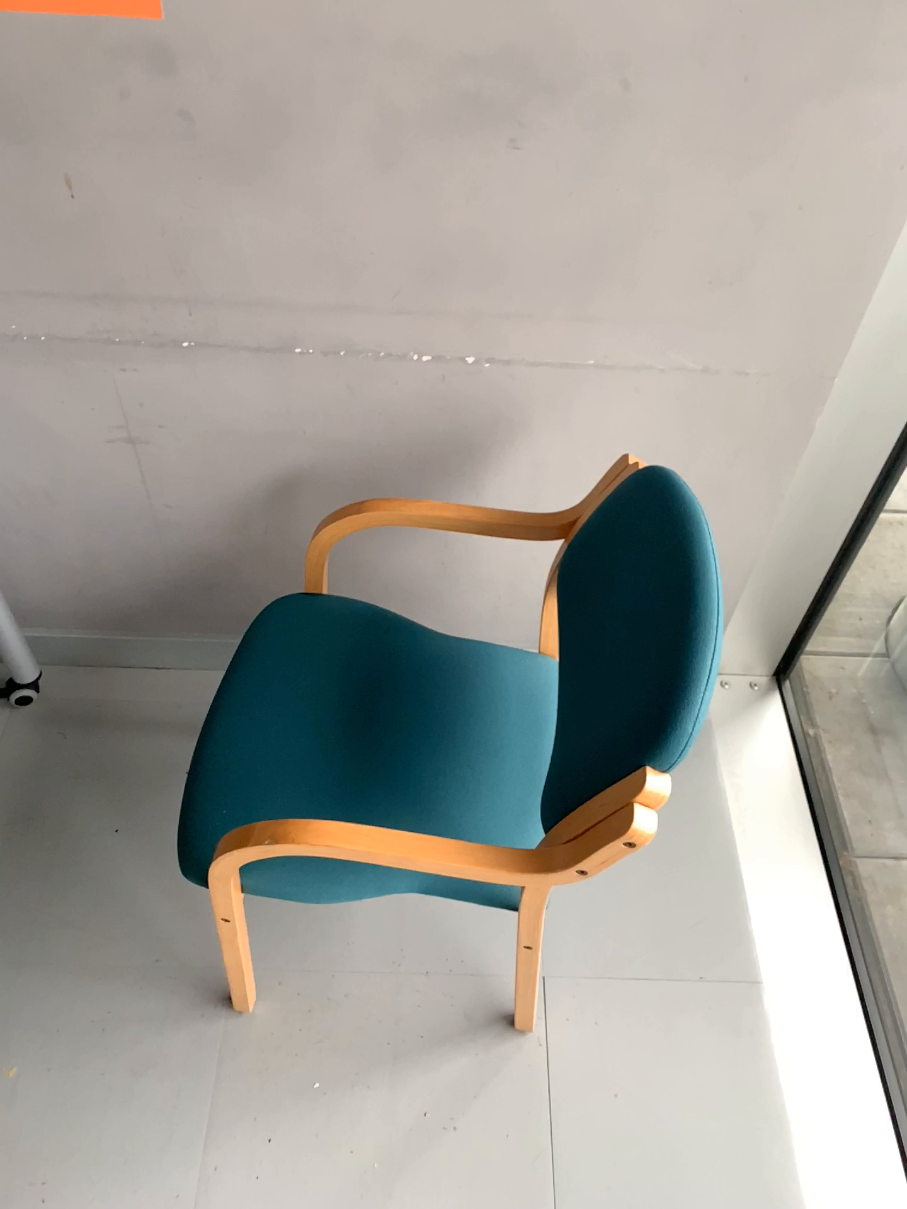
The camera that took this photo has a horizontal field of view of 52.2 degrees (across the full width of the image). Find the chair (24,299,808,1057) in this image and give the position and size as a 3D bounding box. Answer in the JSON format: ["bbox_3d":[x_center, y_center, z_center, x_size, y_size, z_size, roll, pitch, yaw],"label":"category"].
[{"bbox_3d":[-0.031,0.122,1.252,0.640,0.724,0.686,4,50,0],"label":"chair"}]
